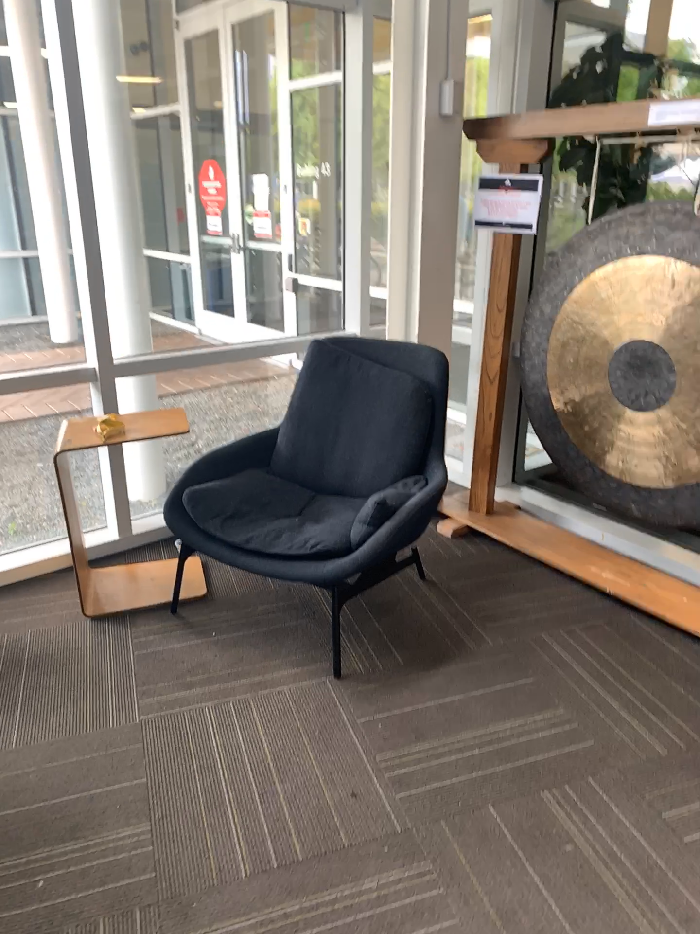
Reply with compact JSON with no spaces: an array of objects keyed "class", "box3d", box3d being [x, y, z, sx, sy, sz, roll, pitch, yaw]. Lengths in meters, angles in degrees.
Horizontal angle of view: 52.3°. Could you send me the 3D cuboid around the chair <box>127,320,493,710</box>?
[{"class":"chair","box3d":[-0.097,0.063,2.643,0.902,0.995,0.942,12,23,28]}]
